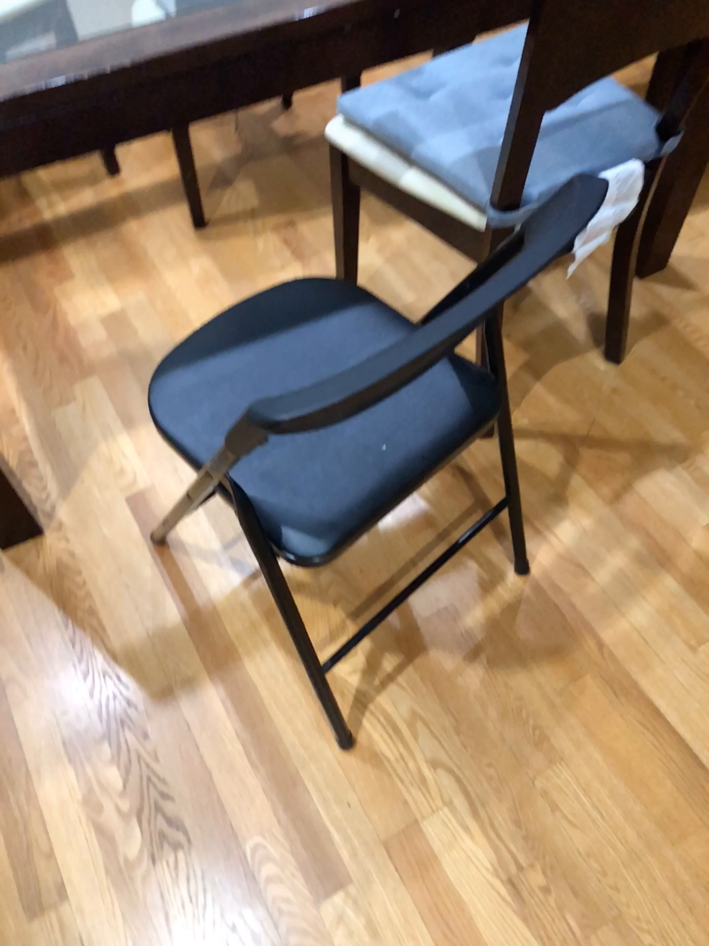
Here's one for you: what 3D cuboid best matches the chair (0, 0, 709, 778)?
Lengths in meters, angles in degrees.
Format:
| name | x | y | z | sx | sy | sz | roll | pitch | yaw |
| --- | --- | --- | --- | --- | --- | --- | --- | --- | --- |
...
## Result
| name | x | y | z | sx | sy | sz | roll | pitch | yaw |
| --- | --- | --- | --- | --- | --- | --- | --- | --- | --- |
| chair | 0.000 | -0.082 | 1.000 | 0.521 | 0.697 | 0.521 | -38 | 61 | -22 |
